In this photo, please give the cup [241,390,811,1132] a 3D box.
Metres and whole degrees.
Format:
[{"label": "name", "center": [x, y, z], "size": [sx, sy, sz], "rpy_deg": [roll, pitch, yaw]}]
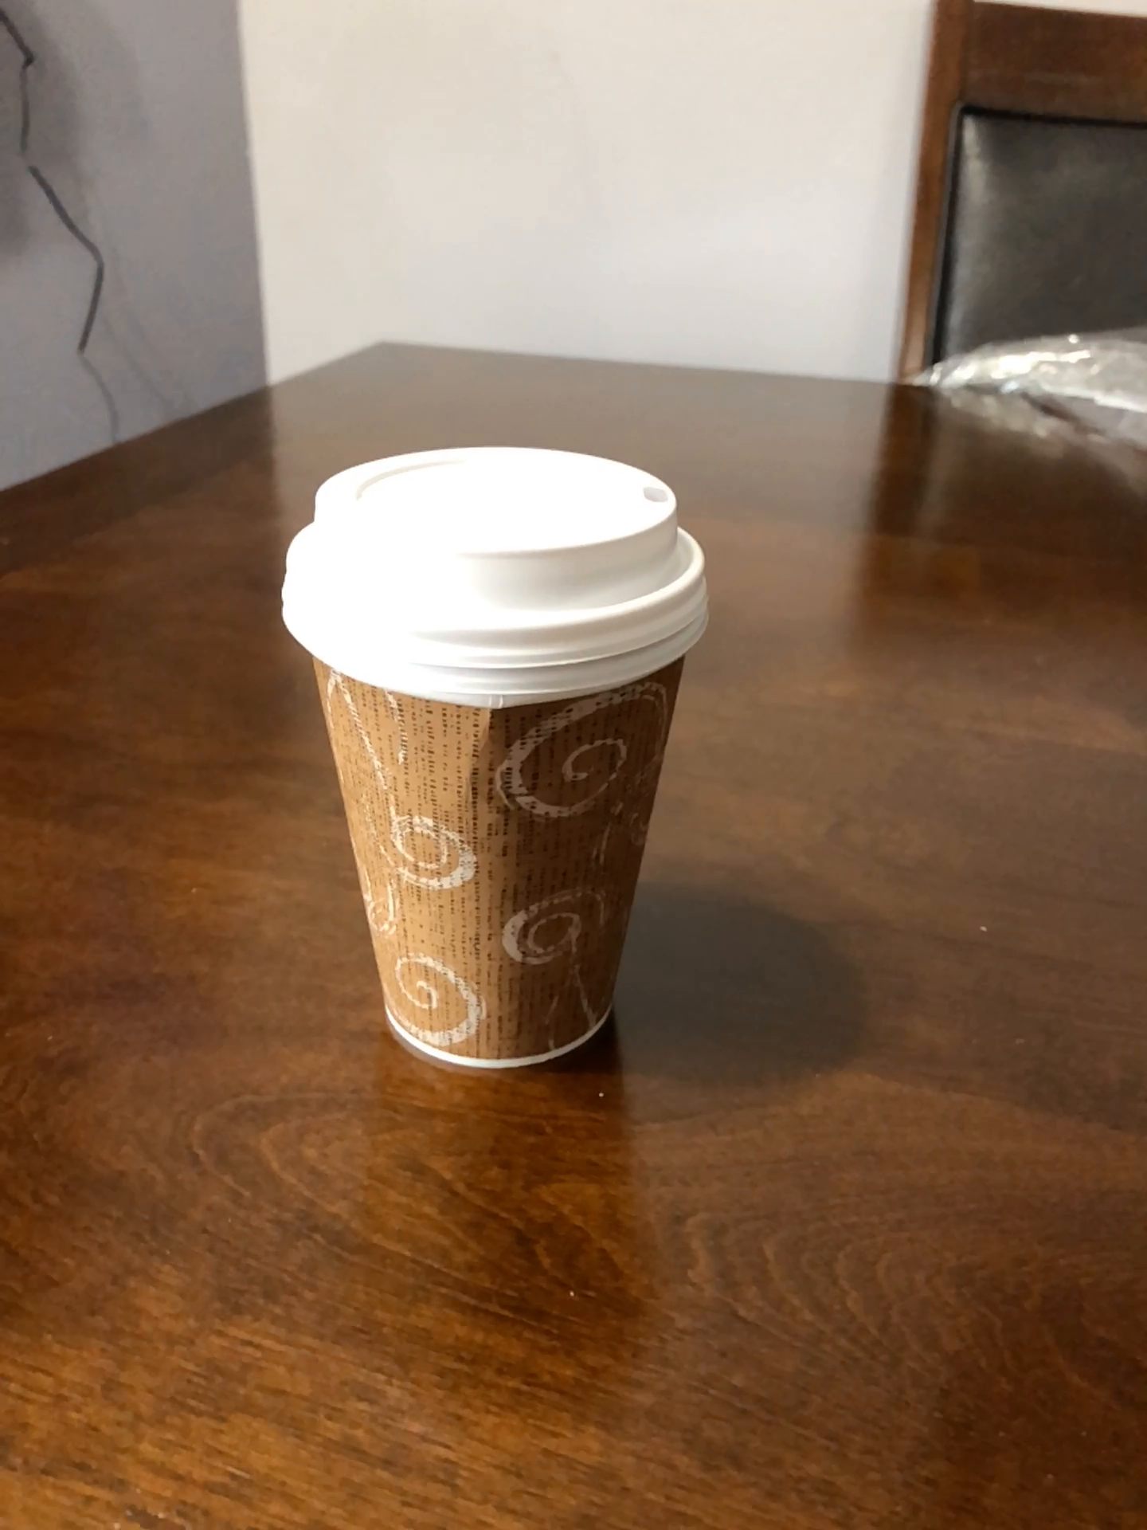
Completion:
[{"label": "cup", "center": [-0.014, -0.007, 0.232], "size": [0.070, 0.100, 0.080], "rpy_deg": [-9, 29, -20]}]
